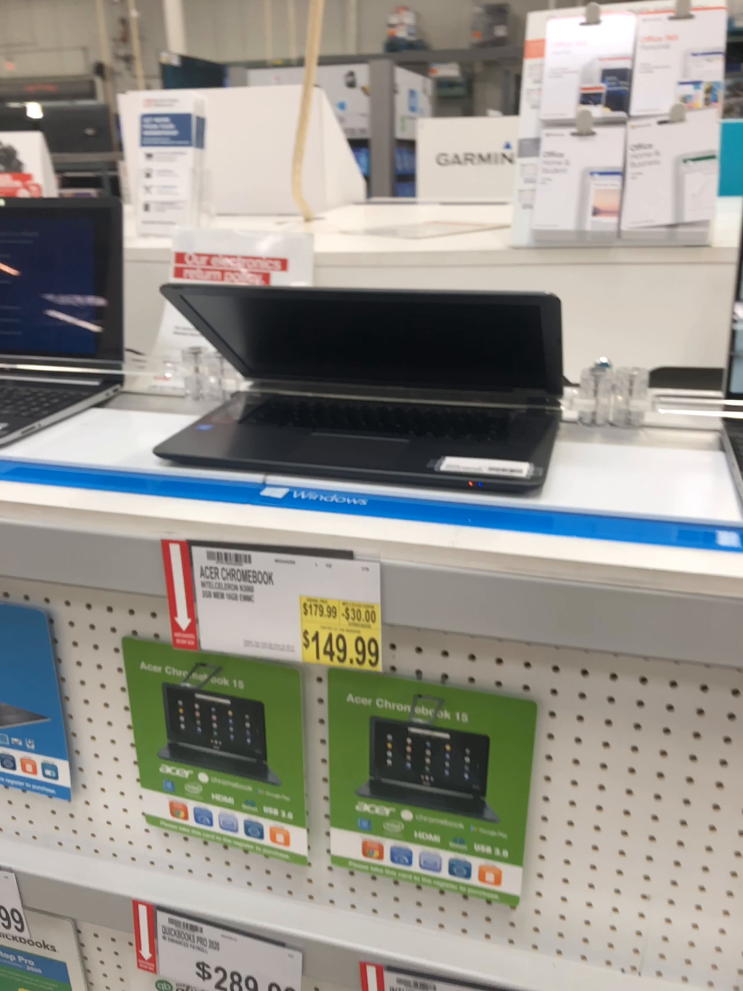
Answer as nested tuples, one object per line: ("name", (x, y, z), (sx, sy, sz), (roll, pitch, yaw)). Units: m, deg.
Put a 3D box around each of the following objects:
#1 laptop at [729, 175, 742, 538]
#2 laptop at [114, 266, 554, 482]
("laptop", (0.480, -0.132, 0.666), (0.317, 0.208, 0.292), (5, 23, 21))
("laptop", (-0.023, -0.134, 0.800), (0.364, 0.136, 0.220), (5, 24, 16))
